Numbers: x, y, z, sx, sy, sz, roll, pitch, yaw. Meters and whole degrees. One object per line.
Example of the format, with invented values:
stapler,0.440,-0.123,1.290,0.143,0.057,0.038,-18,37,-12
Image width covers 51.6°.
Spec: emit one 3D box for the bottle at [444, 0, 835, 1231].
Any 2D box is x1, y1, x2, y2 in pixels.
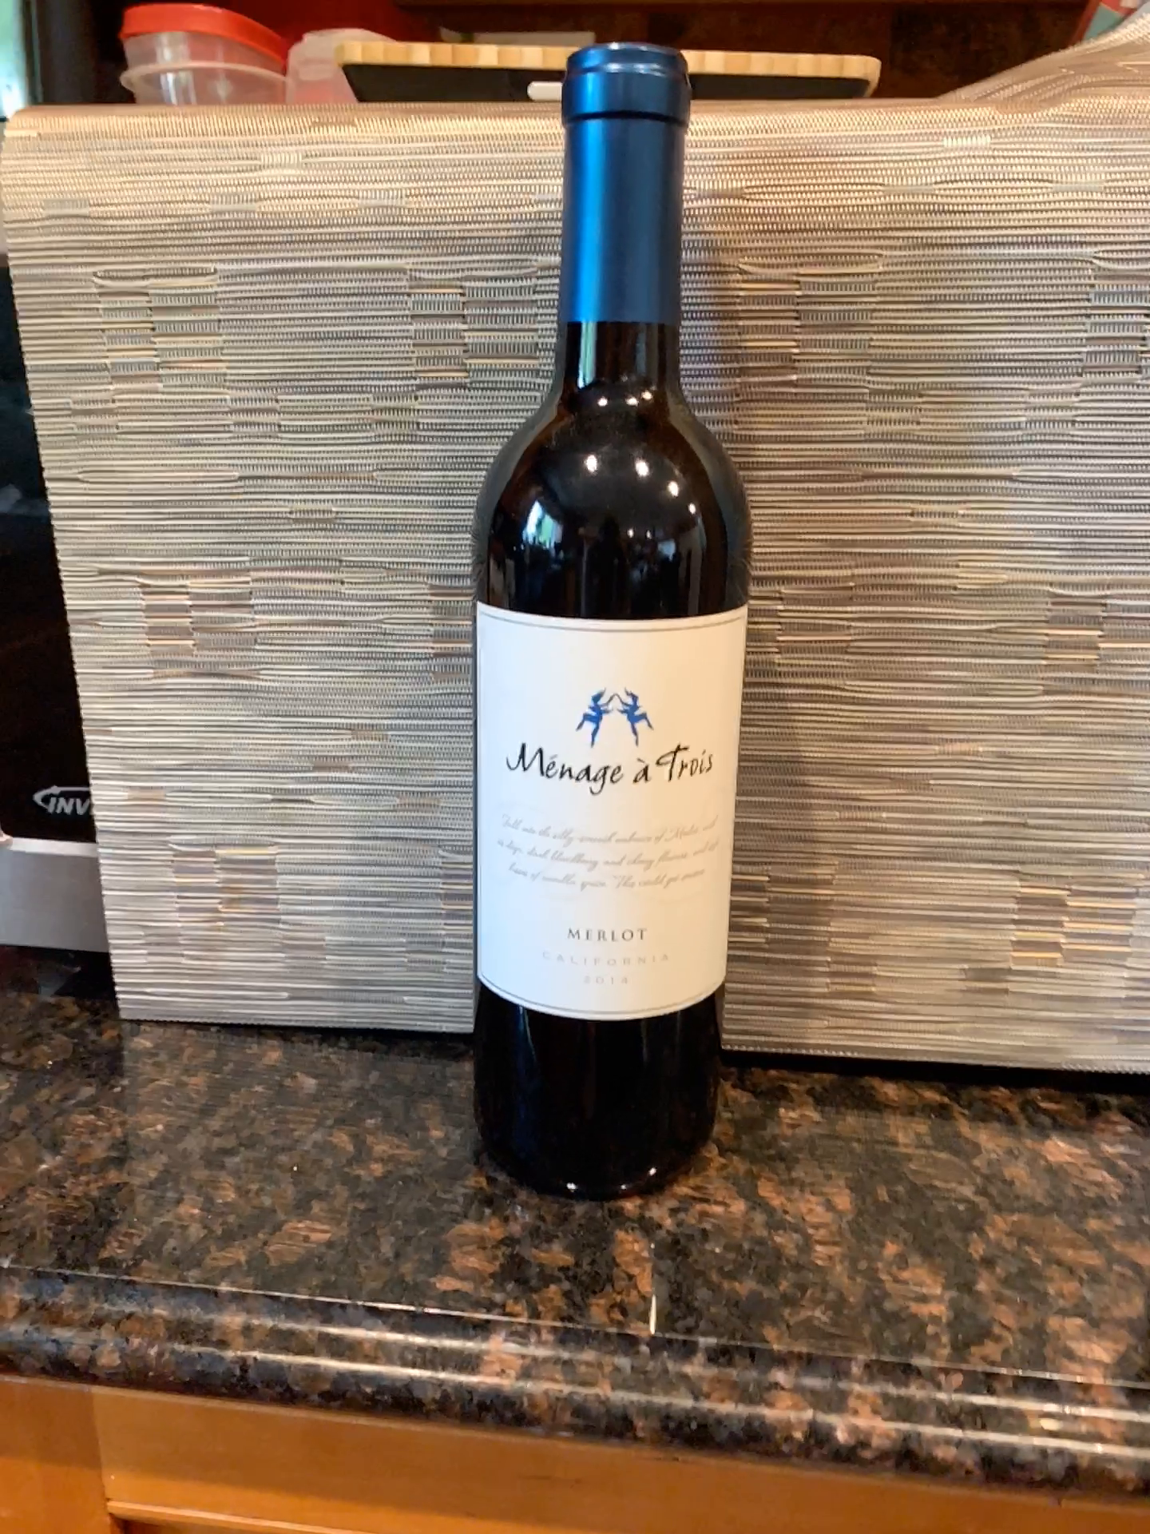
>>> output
bottle,0.012,-0.032,0.328,0.080,0.309,0.080,1,18,0
